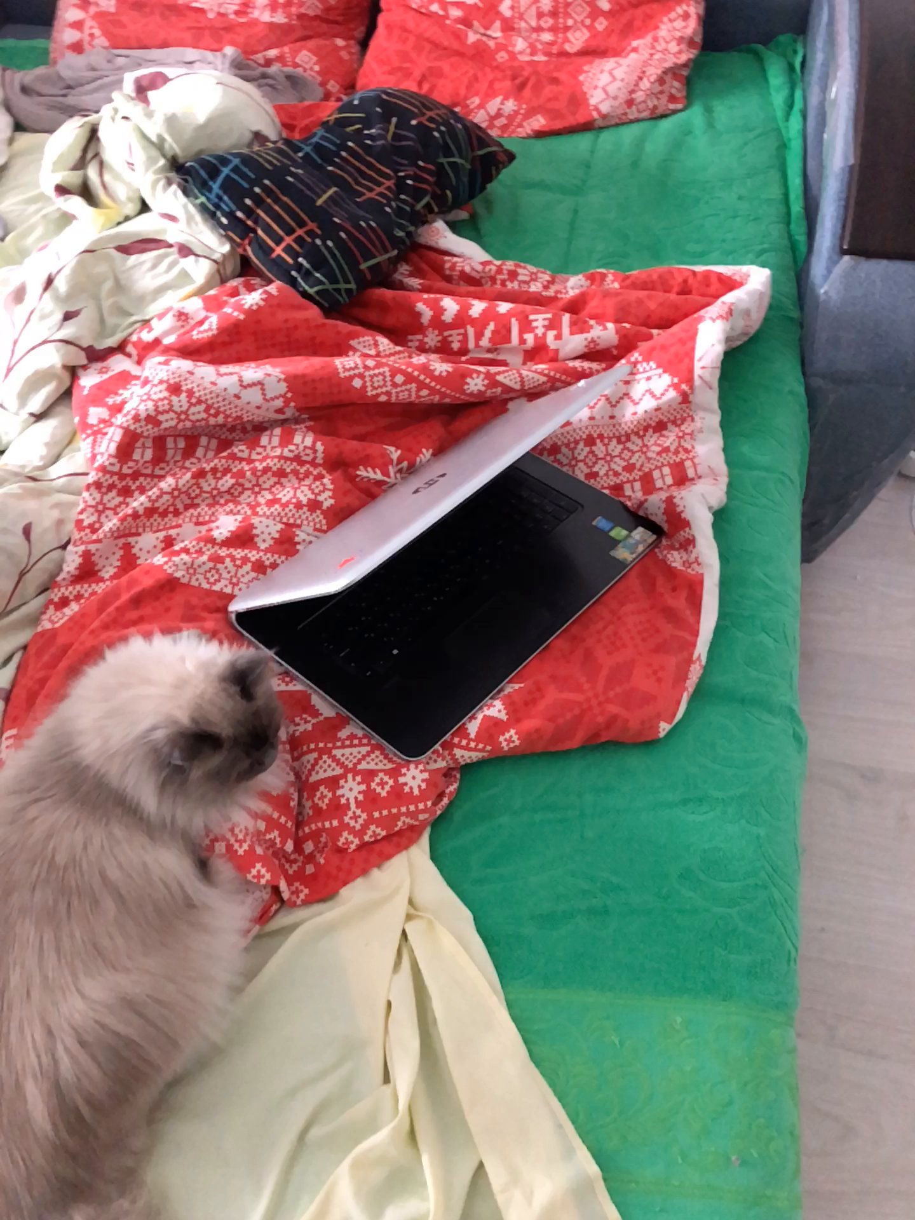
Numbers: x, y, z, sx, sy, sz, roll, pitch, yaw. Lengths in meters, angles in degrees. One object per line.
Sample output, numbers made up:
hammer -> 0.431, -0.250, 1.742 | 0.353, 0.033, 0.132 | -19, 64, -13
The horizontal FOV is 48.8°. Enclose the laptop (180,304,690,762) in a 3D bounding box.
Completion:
laptop -> -0.007, -0.100, 1.026 | 0.277, 0.176, 0.414 | 34, 58, 26
